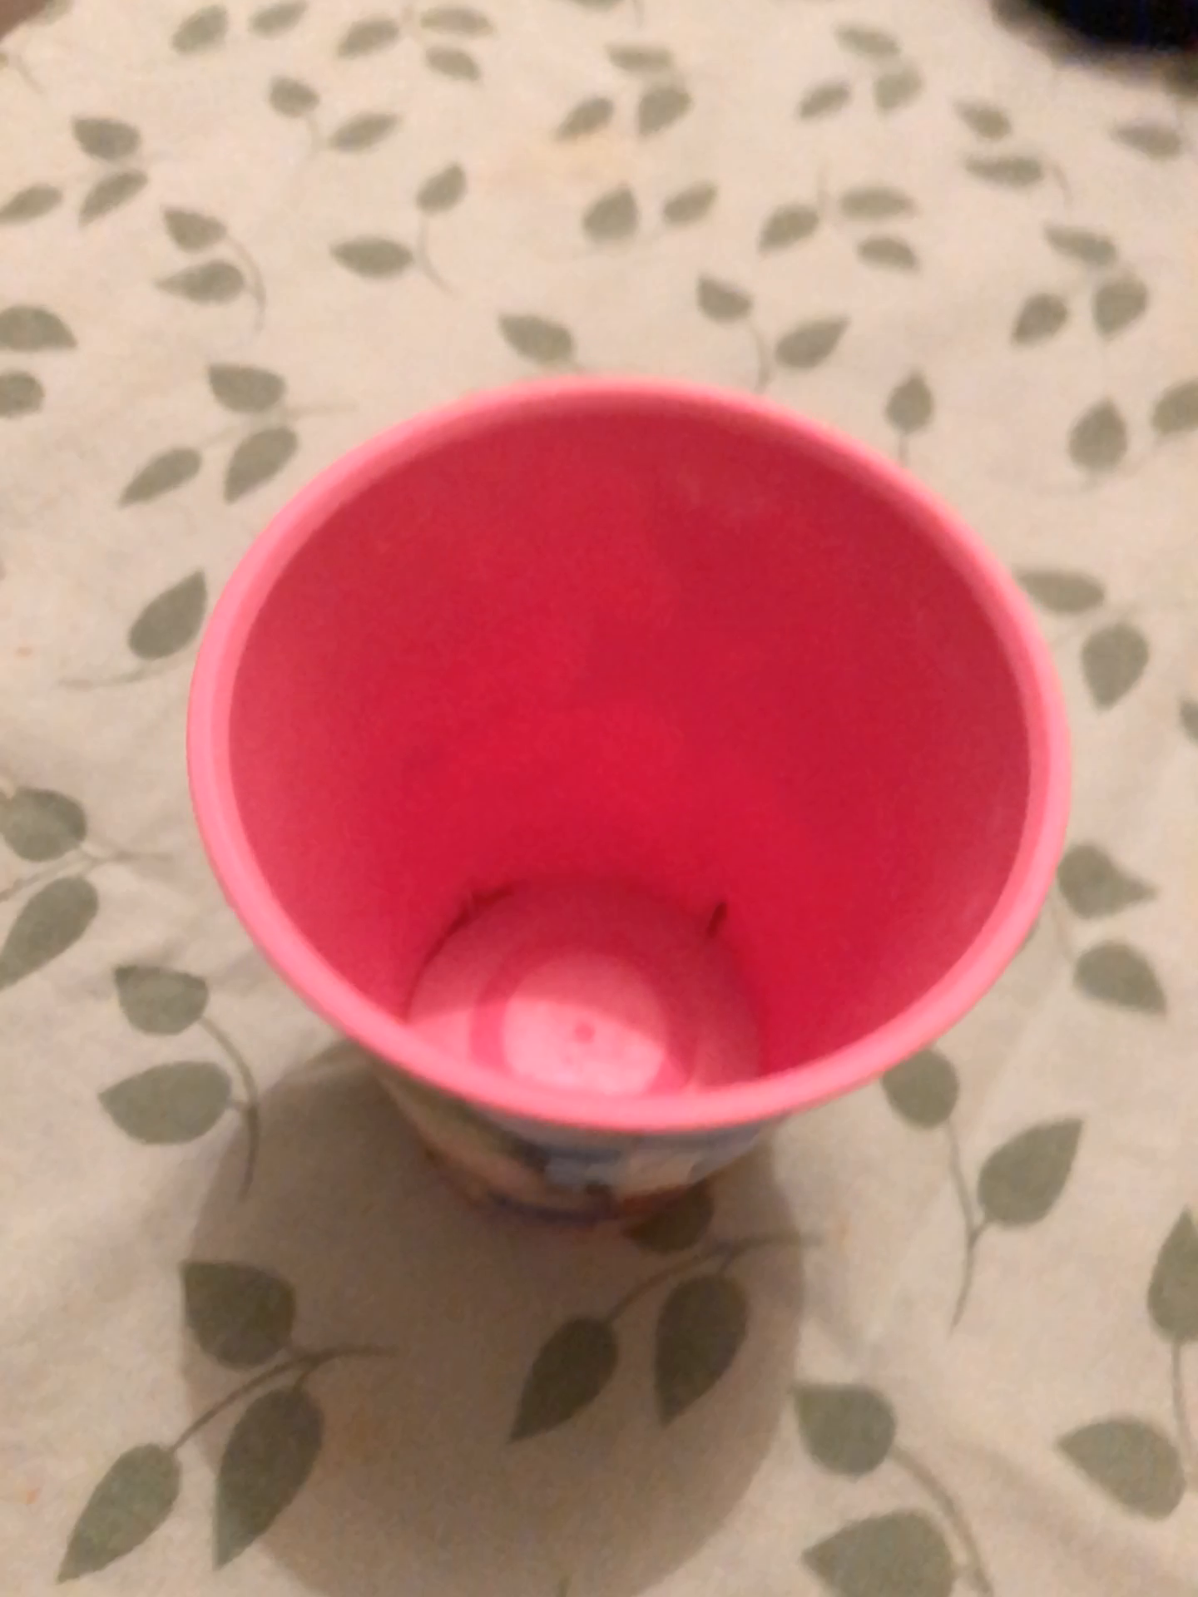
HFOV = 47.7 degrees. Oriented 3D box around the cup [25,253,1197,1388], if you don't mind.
[{"bbox_3d":[0.006,0.015,0.183,0.100,0.119,0.100,2,61,-3],"label":"cup"}]
